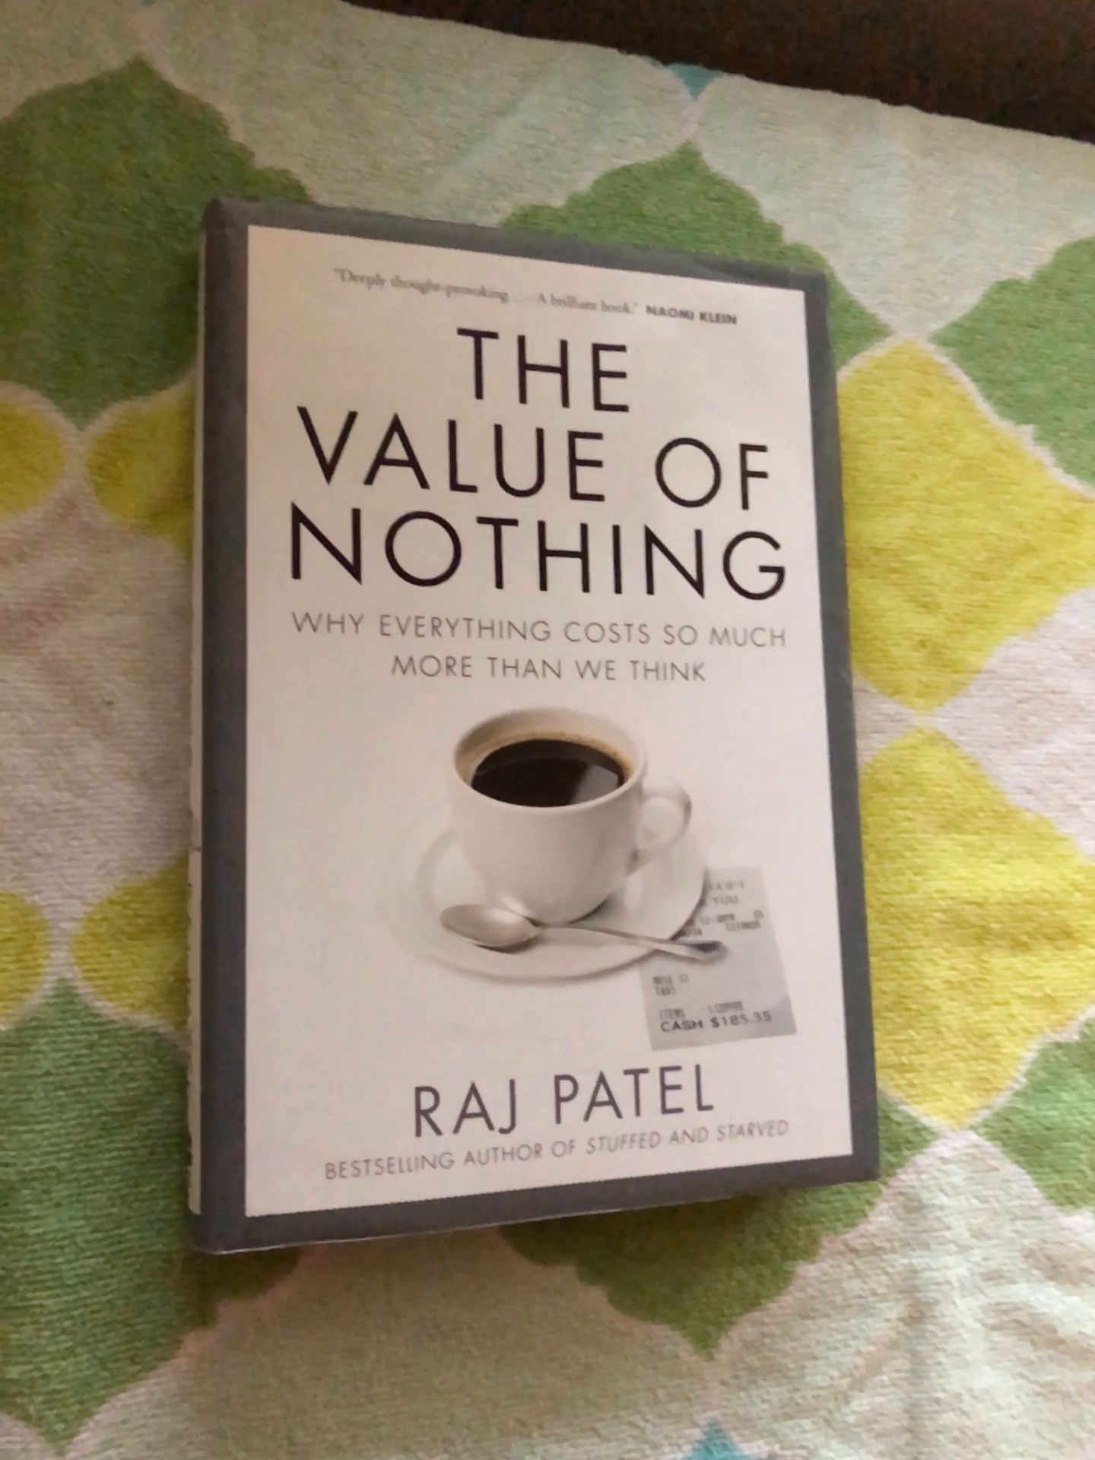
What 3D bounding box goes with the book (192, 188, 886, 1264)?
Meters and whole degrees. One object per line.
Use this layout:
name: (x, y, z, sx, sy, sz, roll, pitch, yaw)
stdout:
book: (-0.003, -0.004, 0.264, 0.140, 0.030, 0.206, 1, 82, -16)
